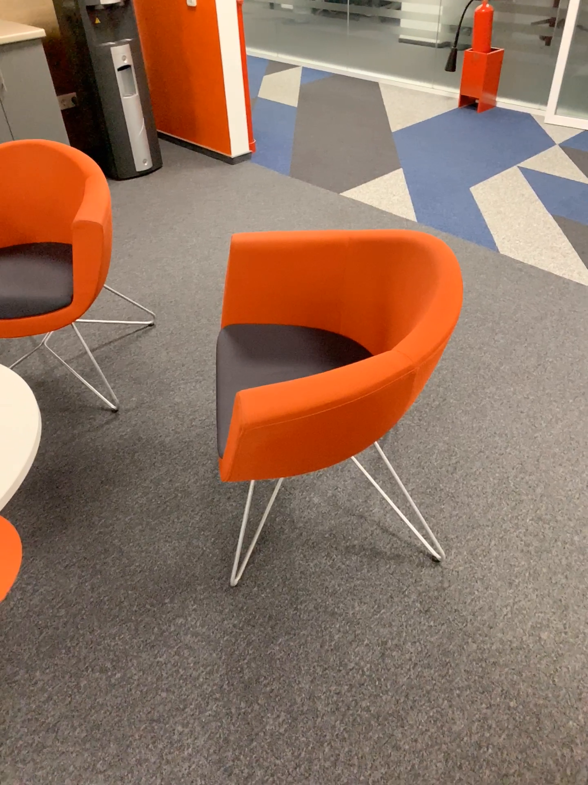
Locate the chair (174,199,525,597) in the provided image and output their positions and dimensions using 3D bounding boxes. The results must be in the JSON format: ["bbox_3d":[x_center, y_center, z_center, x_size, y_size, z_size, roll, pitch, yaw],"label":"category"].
[{"bbox_3d":[0.087,0.004,1.519,0.620,0.706,0.644,-5,40,-2],"label":"chair"}]
